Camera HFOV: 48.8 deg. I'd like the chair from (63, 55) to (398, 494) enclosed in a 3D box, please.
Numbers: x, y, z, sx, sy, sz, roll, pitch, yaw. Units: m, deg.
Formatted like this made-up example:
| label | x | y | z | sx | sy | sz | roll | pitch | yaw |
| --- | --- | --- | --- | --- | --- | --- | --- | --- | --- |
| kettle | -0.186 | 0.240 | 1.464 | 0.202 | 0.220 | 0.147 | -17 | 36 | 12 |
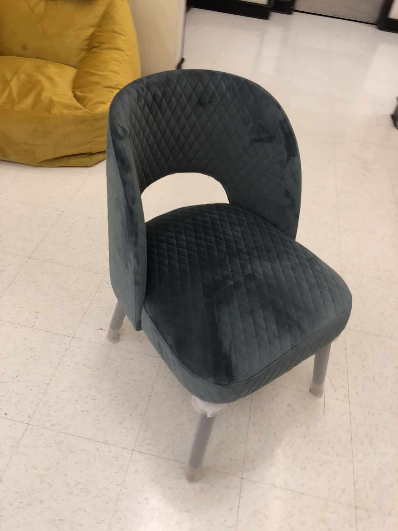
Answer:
| label | x | y | z | sx | sy | sz | roll | pitch | yaw |
| --- | --- | --- | --- | --- | --- | --- | --- | --- | --- |
| chair | 0.063 | 0.027 | 1.148 | 0.532 | 0.856 | 0.581 | -23 | 51 | -28 |
